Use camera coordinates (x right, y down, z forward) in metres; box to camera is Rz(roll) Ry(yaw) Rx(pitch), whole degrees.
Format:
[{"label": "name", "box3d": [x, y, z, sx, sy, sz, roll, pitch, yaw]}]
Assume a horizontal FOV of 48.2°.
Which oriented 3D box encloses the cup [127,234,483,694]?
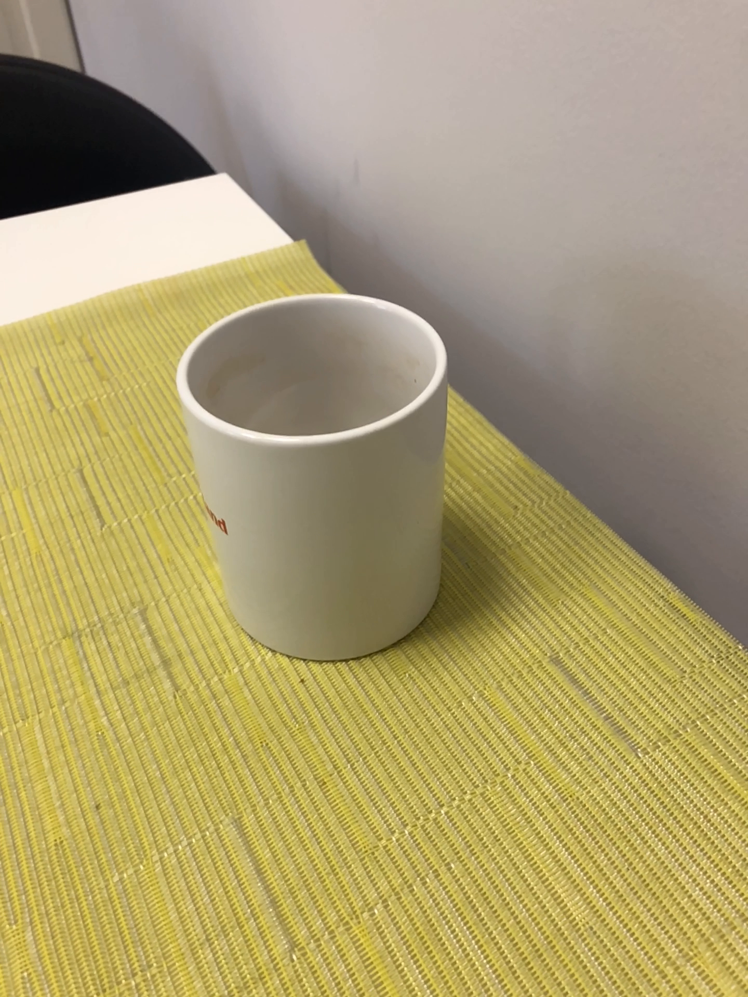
[{"label": "cup", "box3d": [-0.023, -0.015, 0.285, 0.089, 0.100, 0.114, -5, 42, -5]}]
